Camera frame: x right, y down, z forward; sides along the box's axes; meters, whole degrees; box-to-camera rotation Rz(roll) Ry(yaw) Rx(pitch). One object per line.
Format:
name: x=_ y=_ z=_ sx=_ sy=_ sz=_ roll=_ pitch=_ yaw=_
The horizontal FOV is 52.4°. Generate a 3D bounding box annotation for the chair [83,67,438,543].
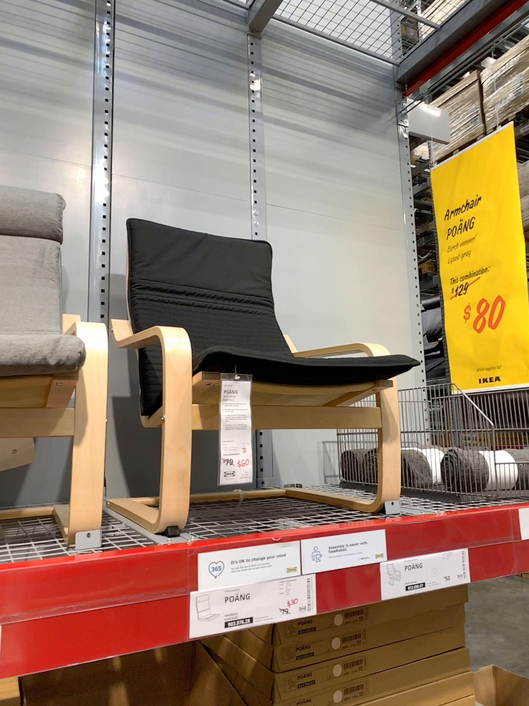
chair: x=-0.086 y=-0.058 z=1.648 sx=0.719 sy=1.012 sz=0.839 roll=4 pitch=-10 yaw=-29
